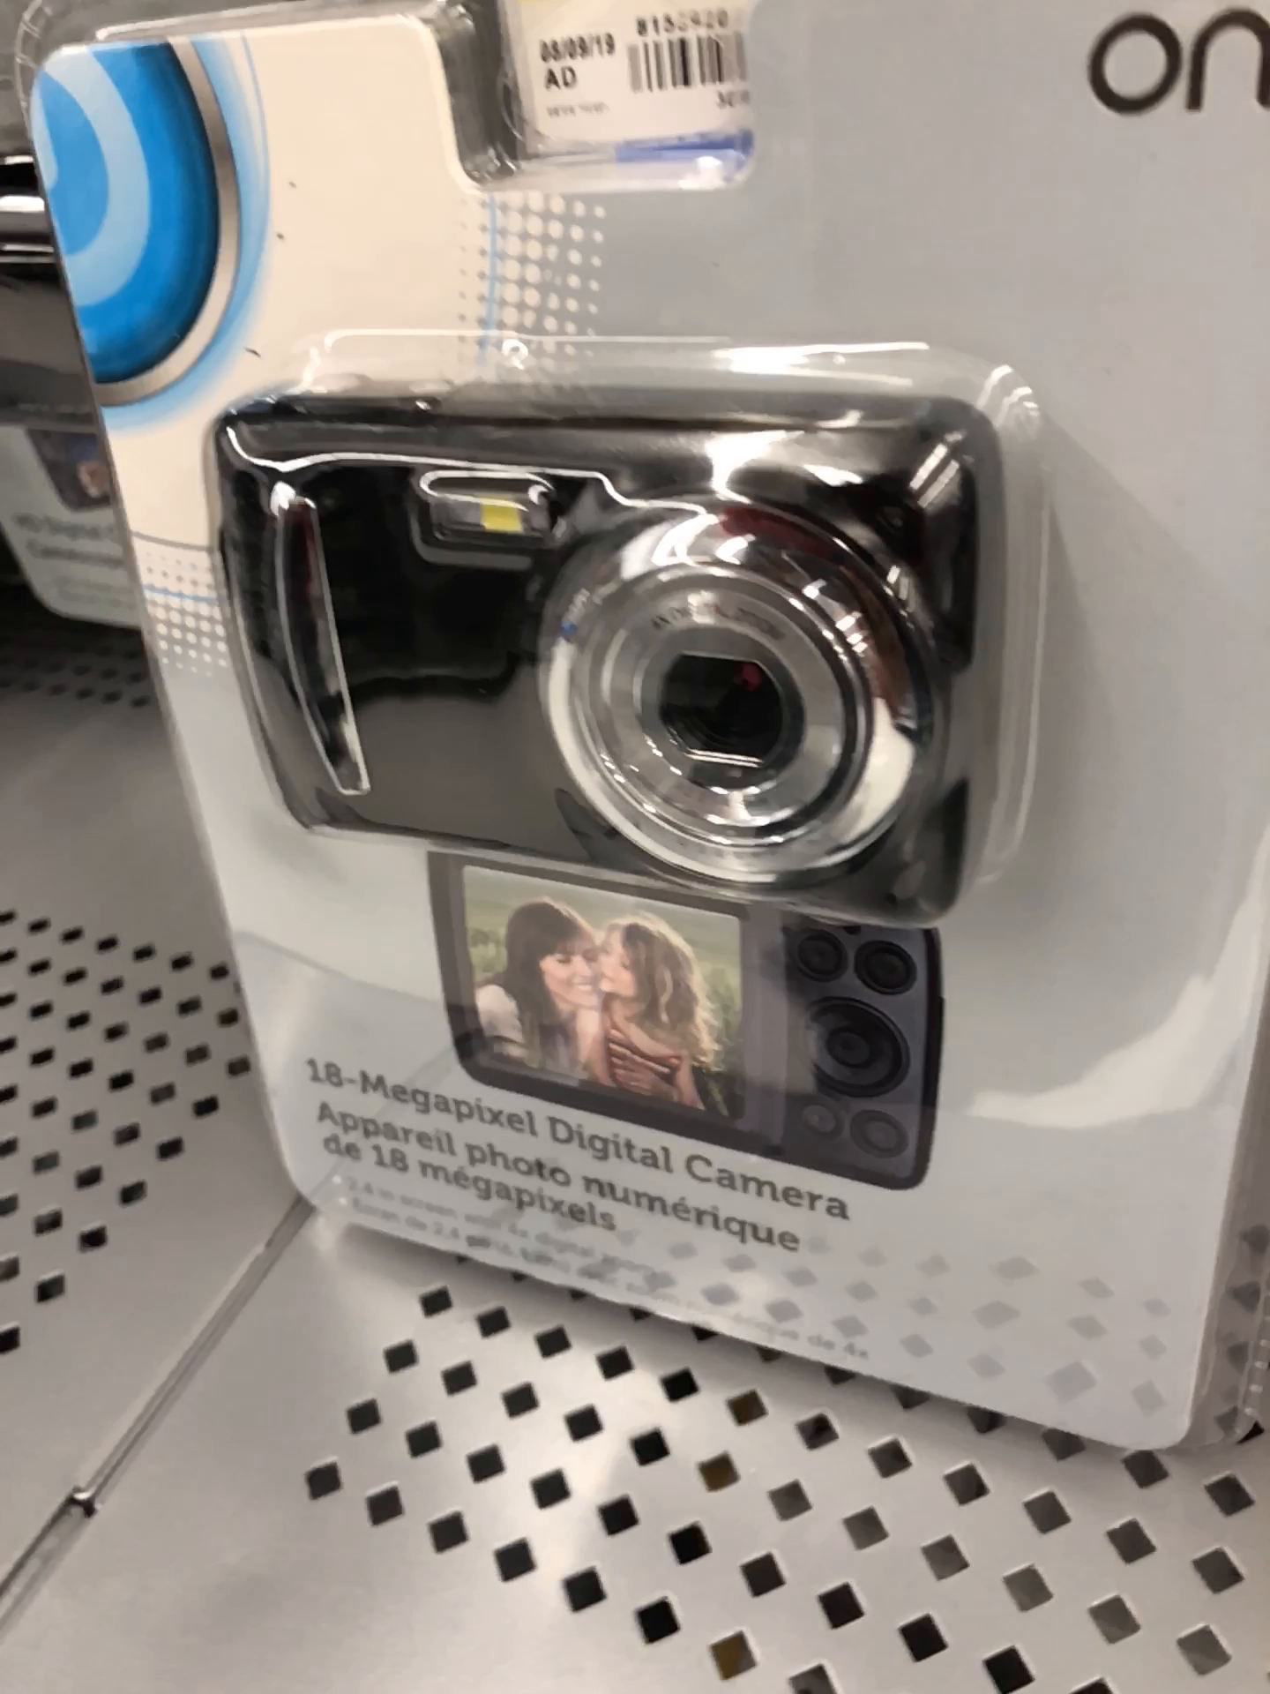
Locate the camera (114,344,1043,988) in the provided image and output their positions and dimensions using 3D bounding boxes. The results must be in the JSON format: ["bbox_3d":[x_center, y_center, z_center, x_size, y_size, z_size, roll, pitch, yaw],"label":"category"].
[{"bbox_3d":[-0.006,-0.025,0.173,0.100,0.060,0.030,10,36,24],"label":"camera"}]
